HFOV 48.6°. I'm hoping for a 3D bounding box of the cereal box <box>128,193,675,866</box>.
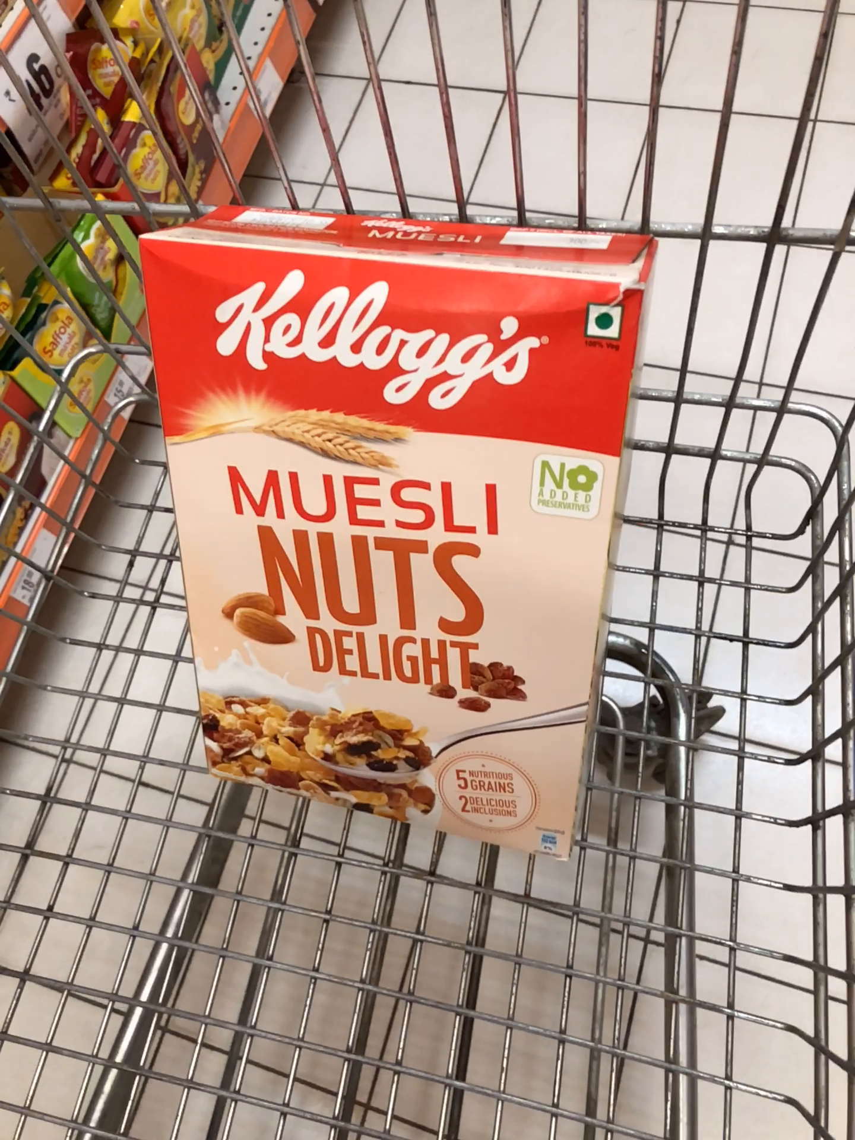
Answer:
[{"bbox_3d":[-0.011,-0.013,0.395,0.180,0.249,0.070,10,31,14],"label":"cereal box"}]
